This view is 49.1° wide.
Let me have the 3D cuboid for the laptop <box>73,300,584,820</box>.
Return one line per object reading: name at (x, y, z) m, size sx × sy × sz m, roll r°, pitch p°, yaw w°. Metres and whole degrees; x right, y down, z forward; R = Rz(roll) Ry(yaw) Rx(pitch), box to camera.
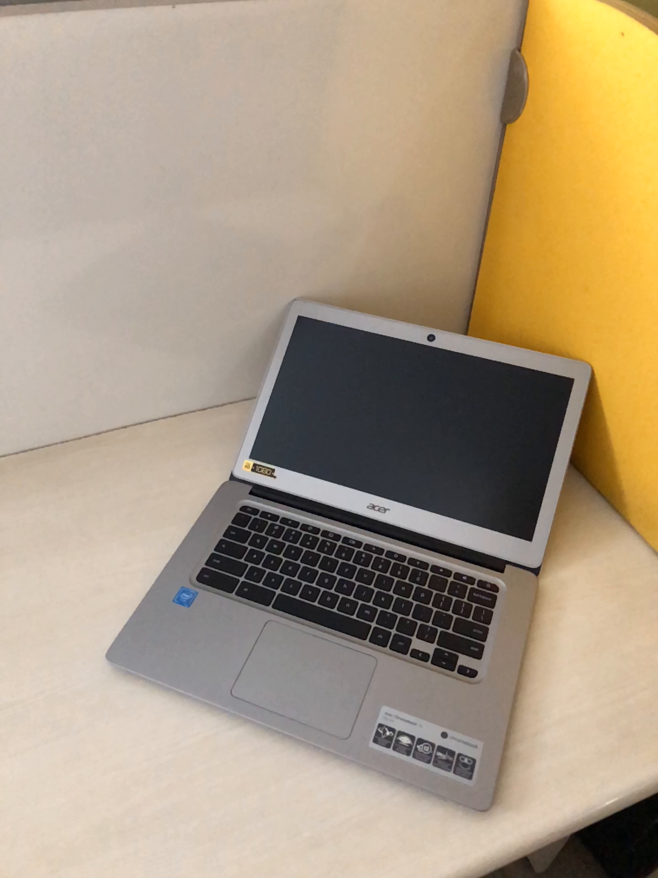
laptop at (0.032, 0.064, 0.674) m, size 0.319 × 0.123 × 0.411 m, roll 16°, pitch 46°, yaw 15°
